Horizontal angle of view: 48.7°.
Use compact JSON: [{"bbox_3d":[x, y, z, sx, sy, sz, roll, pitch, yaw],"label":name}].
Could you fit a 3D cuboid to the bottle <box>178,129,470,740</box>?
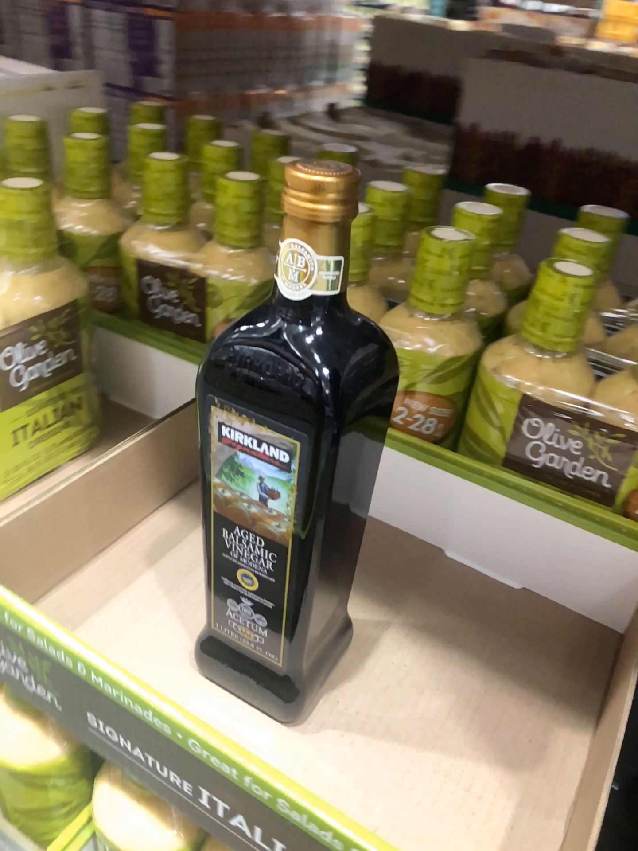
[{"bbox_3d":[-0.010,0.018,0.375,0.090,0.305,0.090,5,32,-3],"label":"bottle"}]
